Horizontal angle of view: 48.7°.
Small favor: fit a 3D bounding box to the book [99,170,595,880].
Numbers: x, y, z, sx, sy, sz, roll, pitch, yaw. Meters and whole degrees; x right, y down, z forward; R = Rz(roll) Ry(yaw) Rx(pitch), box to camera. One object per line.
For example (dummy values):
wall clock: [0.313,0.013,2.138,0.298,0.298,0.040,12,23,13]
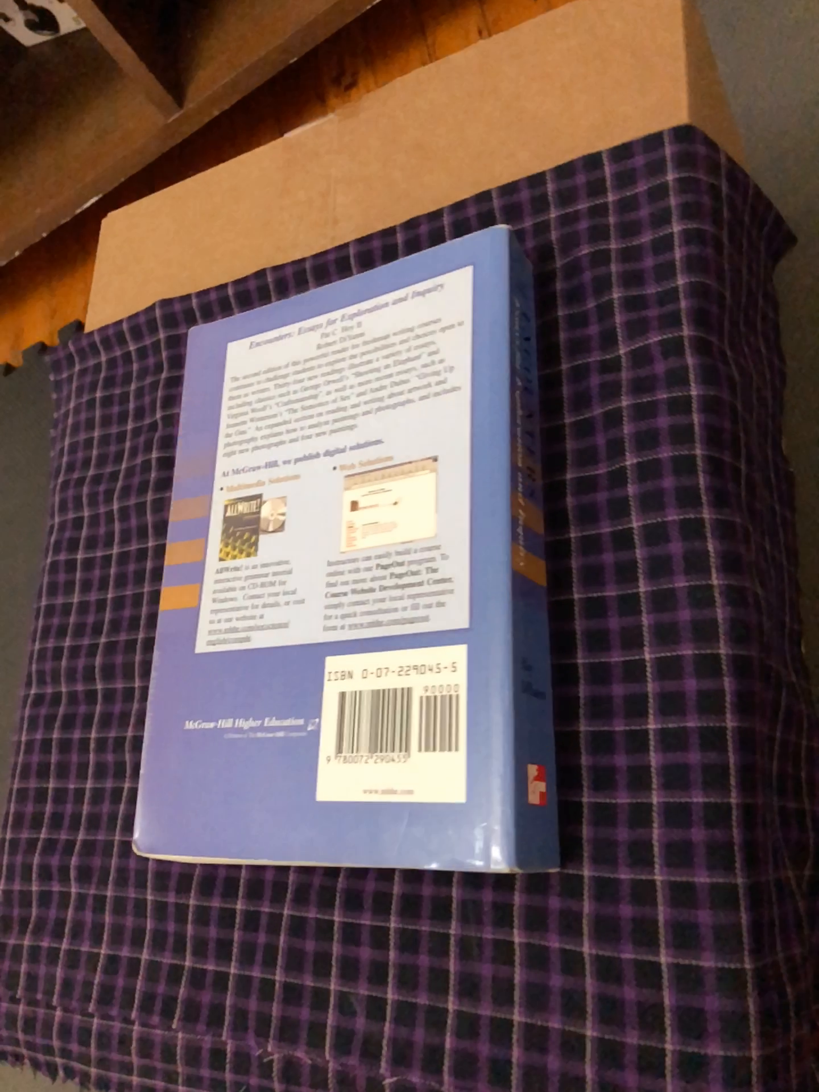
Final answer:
book: [-0.028,-0.002,0.349,0.180,0.040,0.240,-11,68,30]
